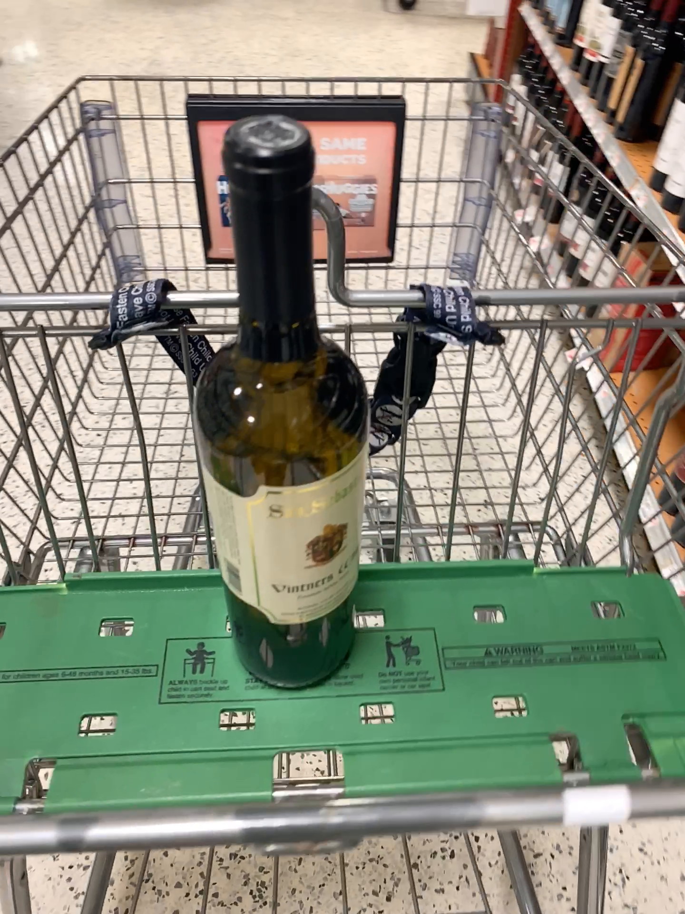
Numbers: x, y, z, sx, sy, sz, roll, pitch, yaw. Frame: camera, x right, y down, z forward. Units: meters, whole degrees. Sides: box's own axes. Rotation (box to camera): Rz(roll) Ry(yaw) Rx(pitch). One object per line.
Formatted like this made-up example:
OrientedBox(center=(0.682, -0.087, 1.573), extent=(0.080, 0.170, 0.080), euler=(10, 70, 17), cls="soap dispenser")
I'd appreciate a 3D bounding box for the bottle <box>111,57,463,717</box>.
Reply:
OrientedBox(center=(-0.021, 0.004, 0.319), extent=(0.080, 0.307, 0.070), euler=(-24, 52, -22), cls="bottle")
